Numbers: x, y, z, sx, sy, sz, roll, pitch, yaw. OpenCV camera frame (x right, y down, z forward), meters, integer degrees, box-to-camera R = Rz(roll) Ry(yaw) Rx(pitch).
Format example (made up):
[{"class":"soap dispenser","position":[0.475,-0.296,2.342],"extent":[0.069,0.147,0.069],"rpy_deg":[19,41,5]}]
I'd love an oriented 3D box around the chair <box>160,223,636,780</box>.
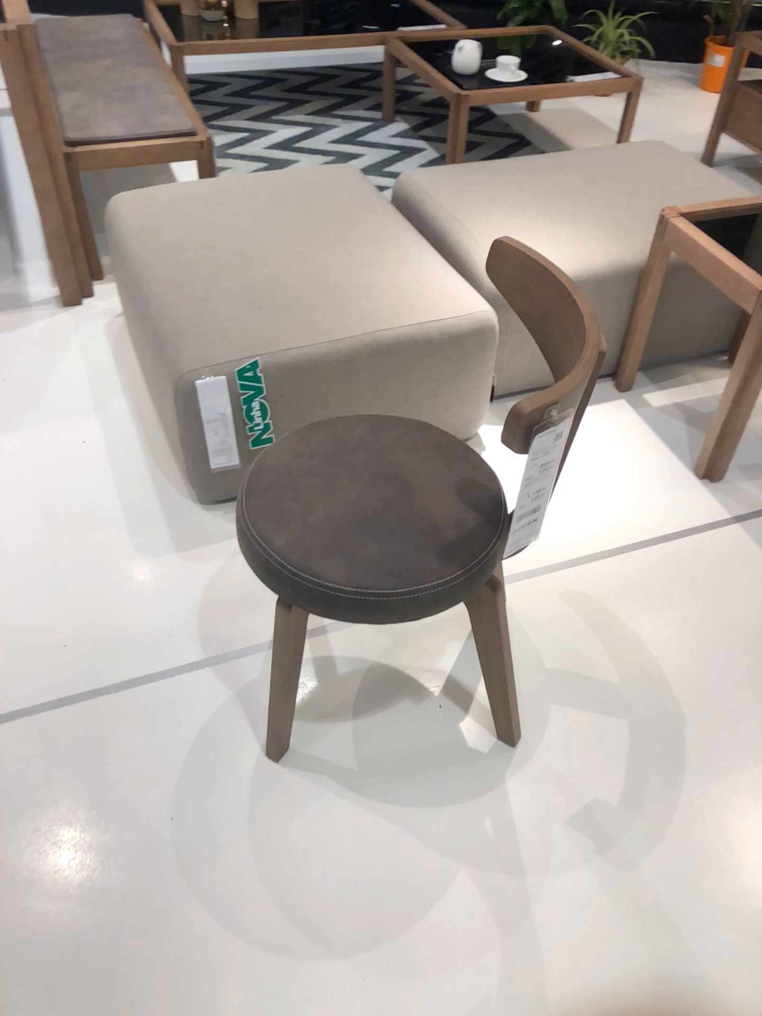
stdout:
[{"class":"chair","position":[0.022,0.007,1.335],"extent":[0.520,0.705,0.504],"rpy_deg":[3,43,1]}]
